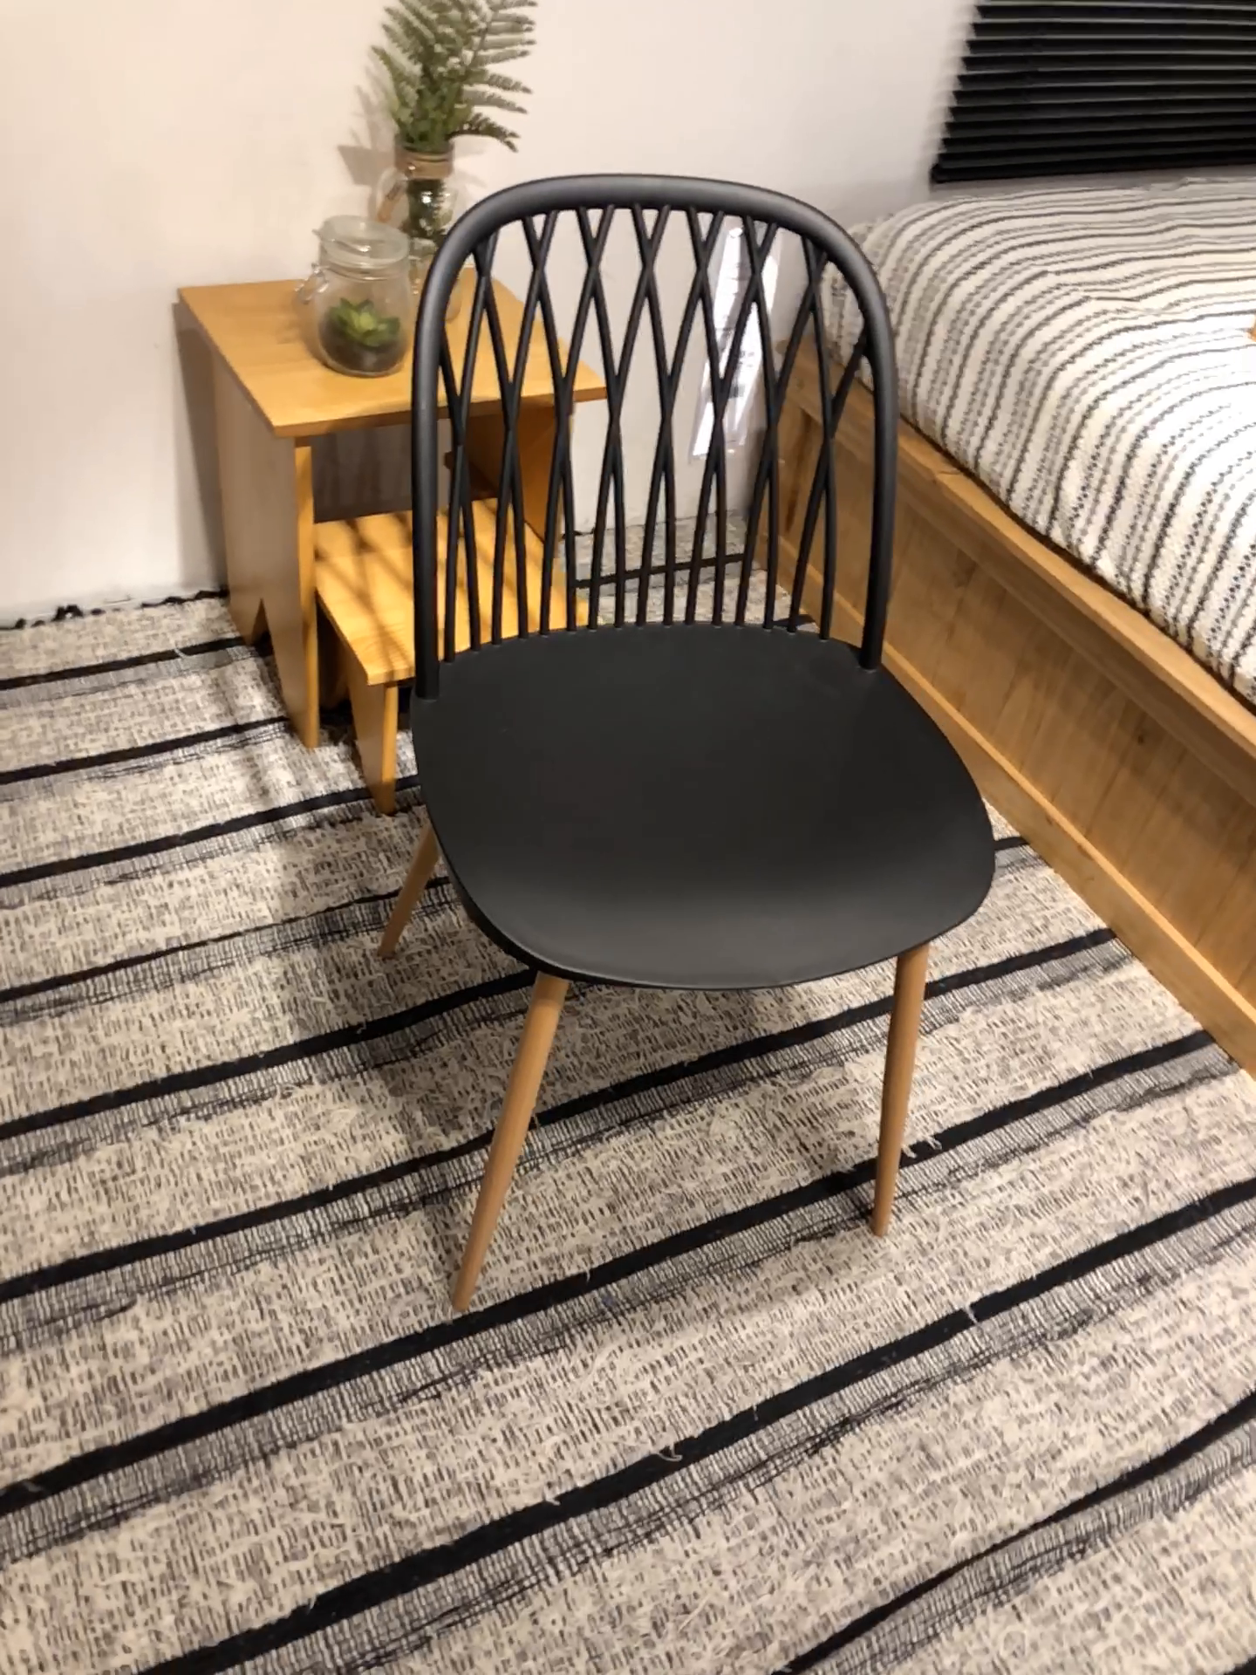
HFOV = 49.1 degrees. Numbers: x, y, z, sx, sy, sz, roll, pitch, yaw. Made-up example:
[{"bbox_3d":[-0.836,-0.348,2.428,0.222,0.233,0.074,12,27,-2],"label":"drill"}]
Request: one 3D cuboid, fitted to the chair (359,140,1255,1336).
[{"bbox_3d":[0.049,-0.068,1.152,0.471,0.774,0.543,-5,45,-16],"label":"chair"}]
